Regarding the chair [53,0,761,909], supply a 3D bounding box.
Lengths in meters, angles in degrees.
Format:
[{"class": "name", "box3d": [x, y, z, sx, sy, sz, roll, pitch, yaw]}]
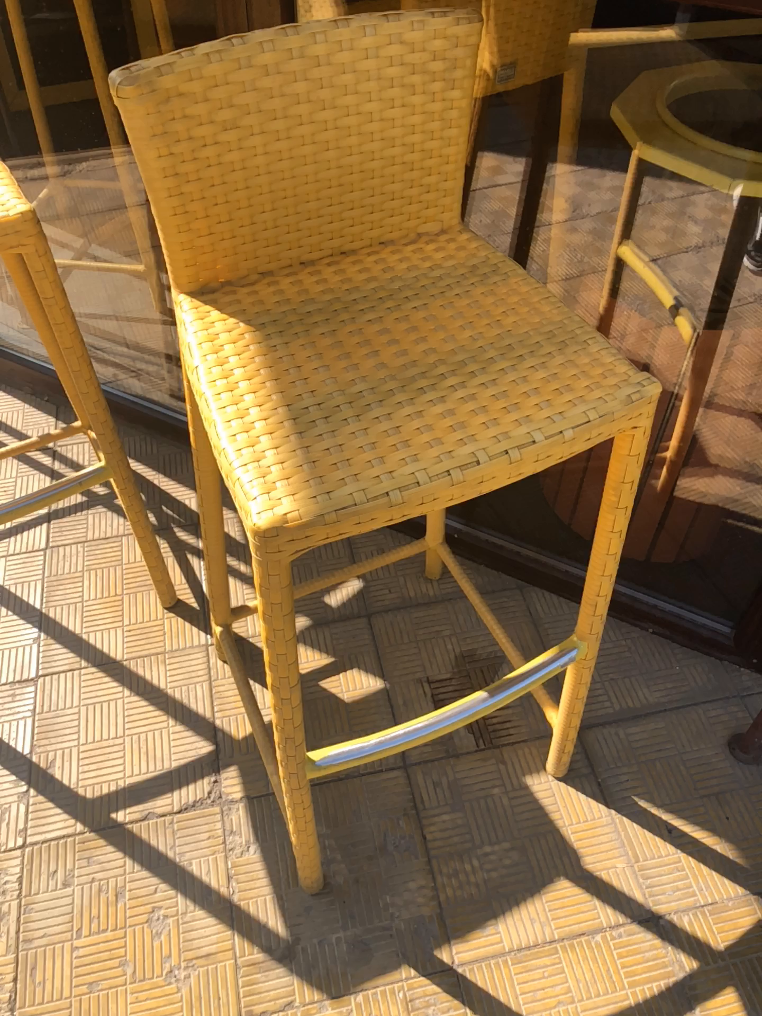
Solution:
[{"class": "chair", "box3d": [0.013, -0.020, 1.023, 0.481, 0.916, 0.521, -18, 50, -18]}]
